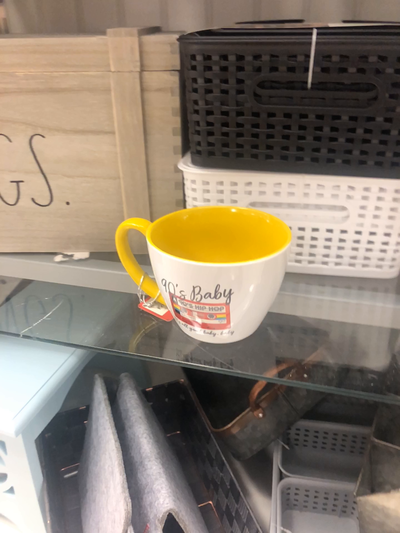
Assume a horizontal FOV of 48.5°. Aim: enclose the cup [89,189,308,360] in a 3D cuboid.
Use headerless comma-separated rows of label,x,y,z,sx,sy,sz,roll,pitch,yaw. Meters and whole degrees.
cup,0.006,-0.003,0.396,0.156,0.076,0.127,9,32,14
